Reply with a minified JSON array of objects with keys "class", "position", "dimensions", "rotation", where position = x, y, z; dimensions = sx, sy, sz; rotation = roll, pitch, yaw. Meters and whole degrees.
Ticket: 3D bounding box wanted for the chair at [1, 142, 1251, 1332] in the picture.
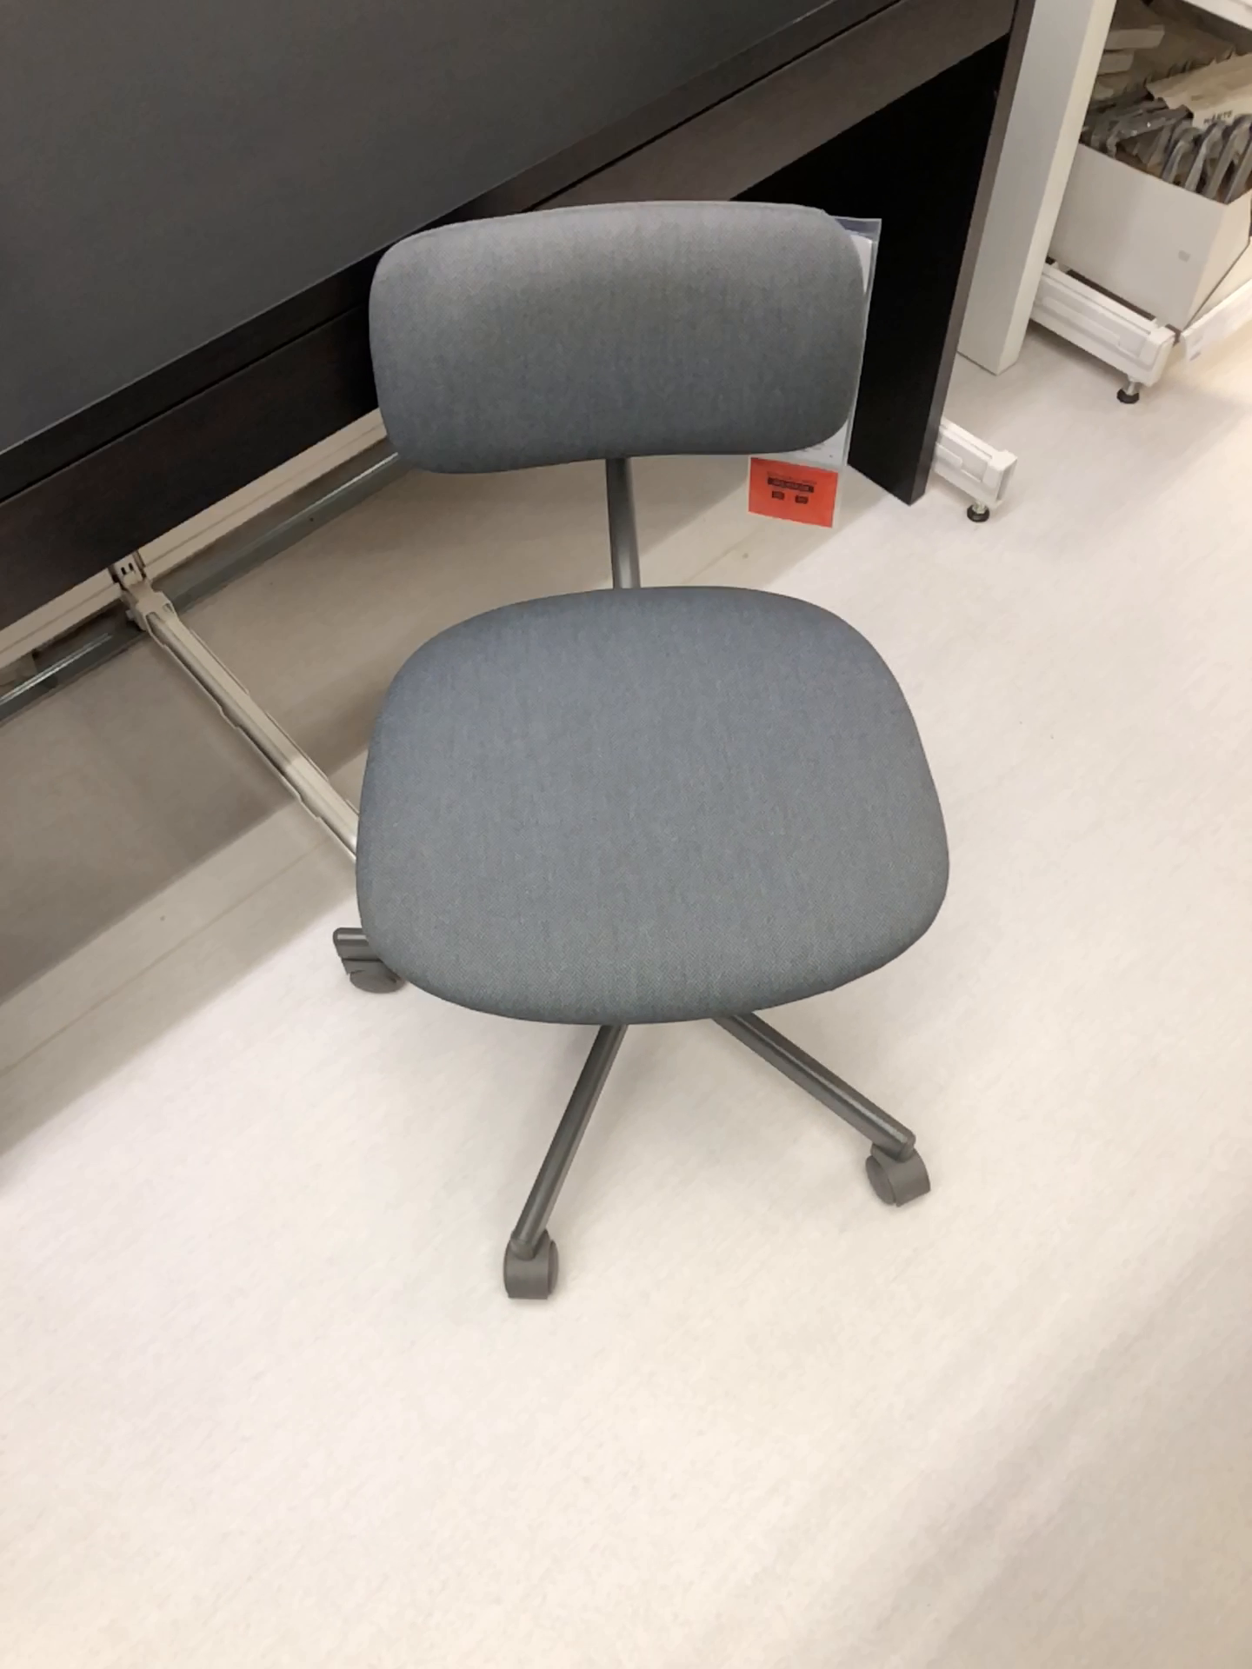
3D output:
[{"class":"chair","position":[0.013,-0.027,1.069],"dimensions":[0.620,0.676,0.593],"rotation":[-4,57,-2]}]
